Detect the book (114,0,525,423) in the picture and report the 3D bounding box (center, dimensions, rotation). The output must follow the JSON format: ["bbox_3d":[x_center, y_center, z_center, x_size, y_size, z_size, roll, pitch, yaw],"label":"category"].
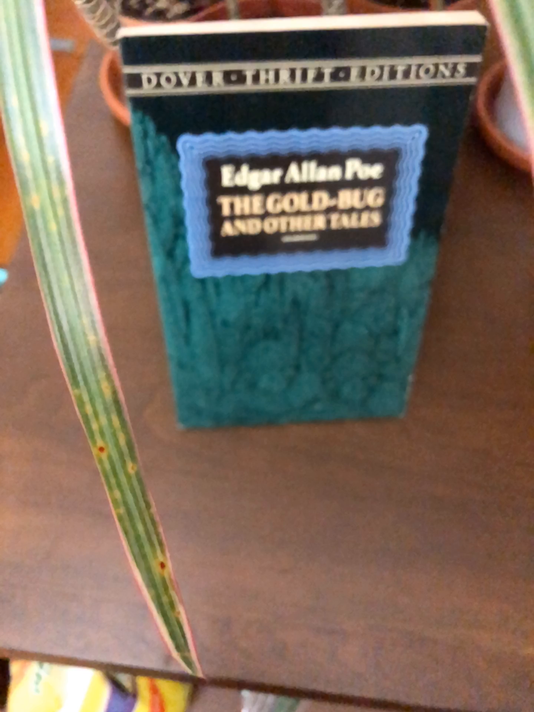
[{"bbox_3d":[0.019,-0.051,0.284,0.140,0.209,0.020,-3,42,-3],"label":"book"}]
